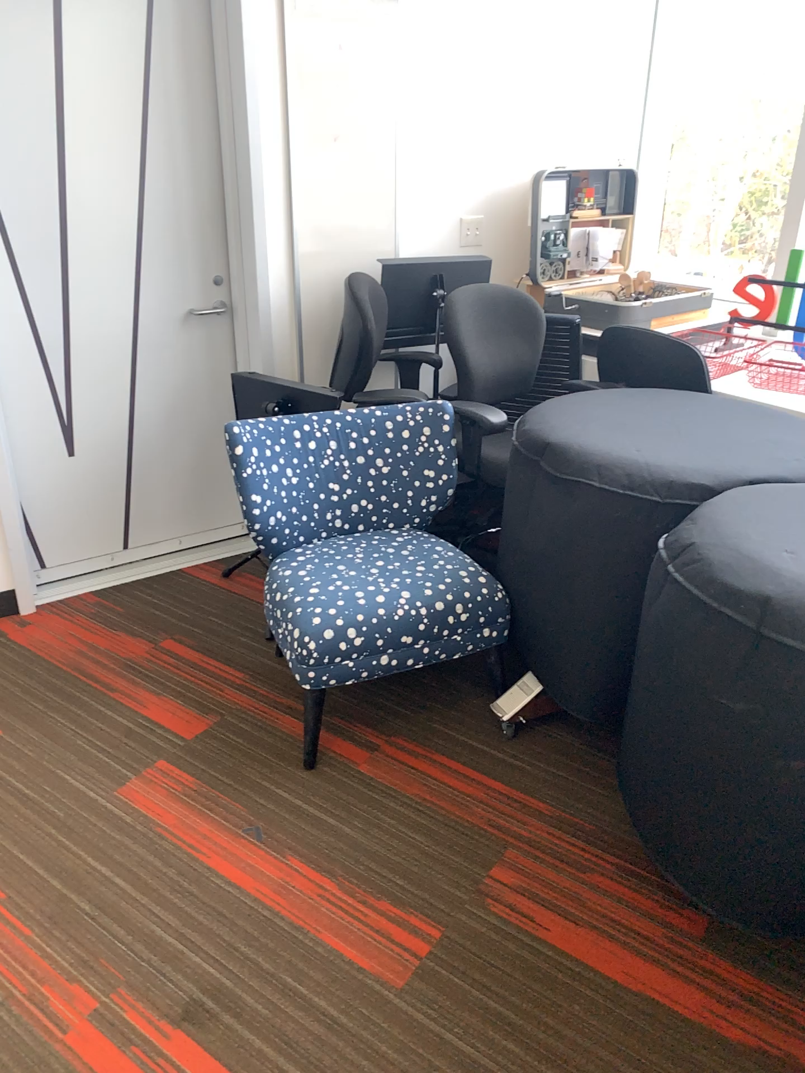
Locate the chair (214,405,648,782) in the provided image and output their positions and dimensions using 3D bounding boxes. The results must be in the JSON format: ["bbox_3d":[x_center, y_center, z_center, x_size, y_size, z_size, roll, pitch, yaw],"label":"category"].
[{"bbox_3d":[0.041,0.089,2.459,1.000,0.686,0.774,-10,26,-21],"label":"chair"}]
